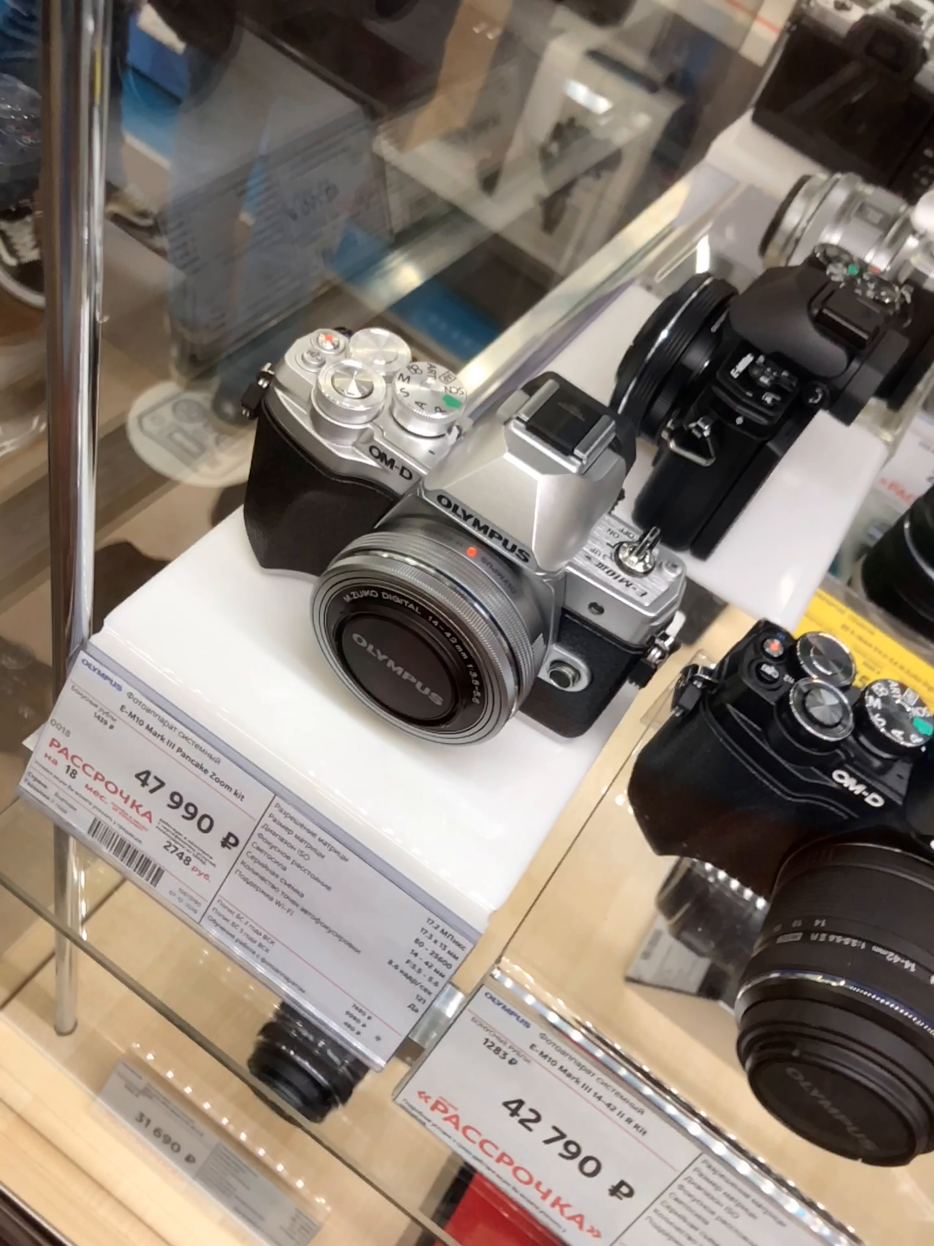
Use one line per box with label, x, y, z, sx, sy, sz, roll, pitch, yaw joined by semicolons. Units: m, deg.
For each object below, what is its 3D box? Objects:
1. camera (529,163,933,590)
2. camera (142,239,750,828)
camera;0.090;-0.084;0.343;0.078;0.068;0.109;36;51;8
camera;-0.008;-0.024;0.265;0.122;0.067;0.073;35;50;7
